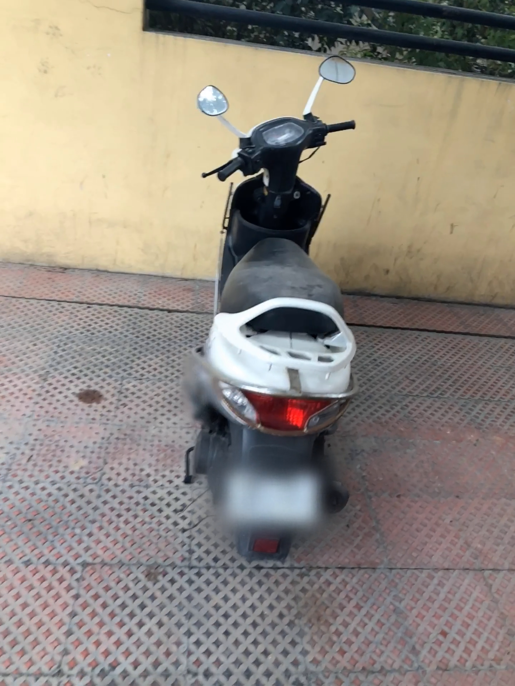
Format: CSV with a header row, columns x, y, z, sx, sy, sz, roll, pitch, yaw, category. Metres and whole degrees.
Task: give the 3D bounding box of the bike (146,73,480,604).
x,y,z,sx,sy,sz,roll,pitch,yaw,category
0.017,-0.155,1.932,0.599,1.080,1.482,5,33,-7,bike
